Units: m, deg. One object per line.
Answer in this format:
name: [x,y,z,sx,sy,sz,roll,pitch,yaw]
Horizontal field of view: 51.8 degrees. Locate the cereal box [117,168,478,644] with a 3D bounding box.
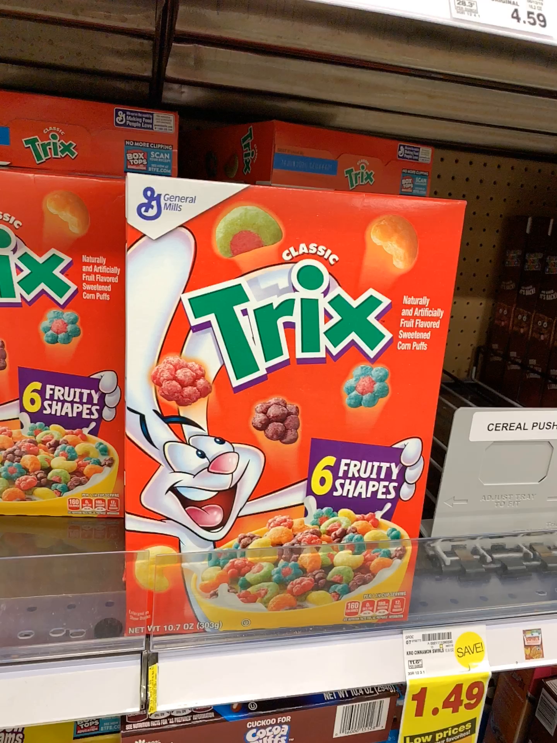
cereal box: [0.001,0.029,0.380,0.200,0.289,0.060,1,16,-13]
